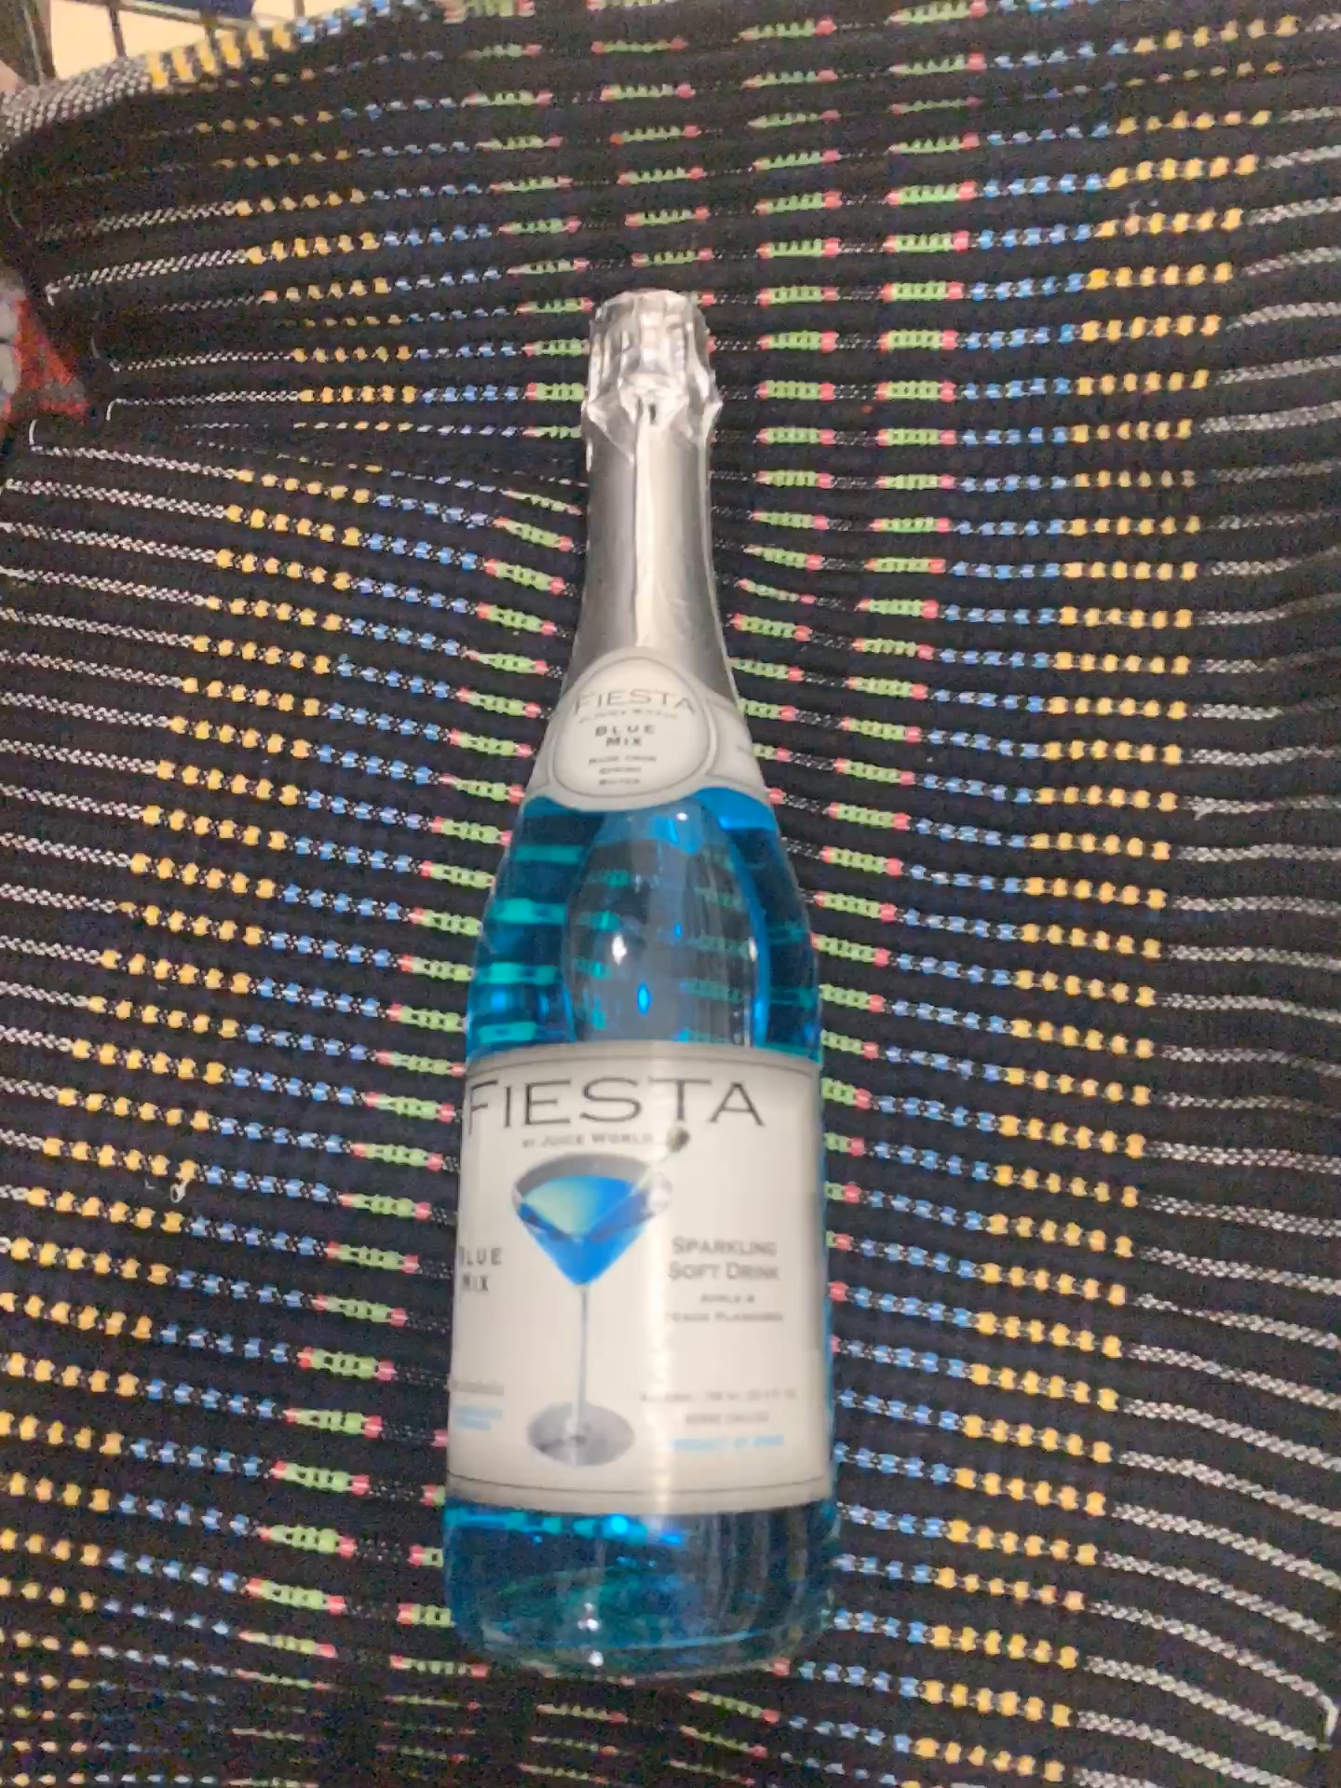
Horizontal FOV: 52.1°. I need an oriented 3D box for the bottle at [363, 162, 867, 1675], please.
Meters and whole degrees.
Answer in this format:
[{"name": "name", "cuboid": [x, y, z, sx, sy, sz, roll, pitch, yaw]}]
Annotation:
[{"name": "bottle", "cuboid": [-0.003, -0.004, 0.324, 0.080, 0.100, 0.310, -3, 72, 11]}]
